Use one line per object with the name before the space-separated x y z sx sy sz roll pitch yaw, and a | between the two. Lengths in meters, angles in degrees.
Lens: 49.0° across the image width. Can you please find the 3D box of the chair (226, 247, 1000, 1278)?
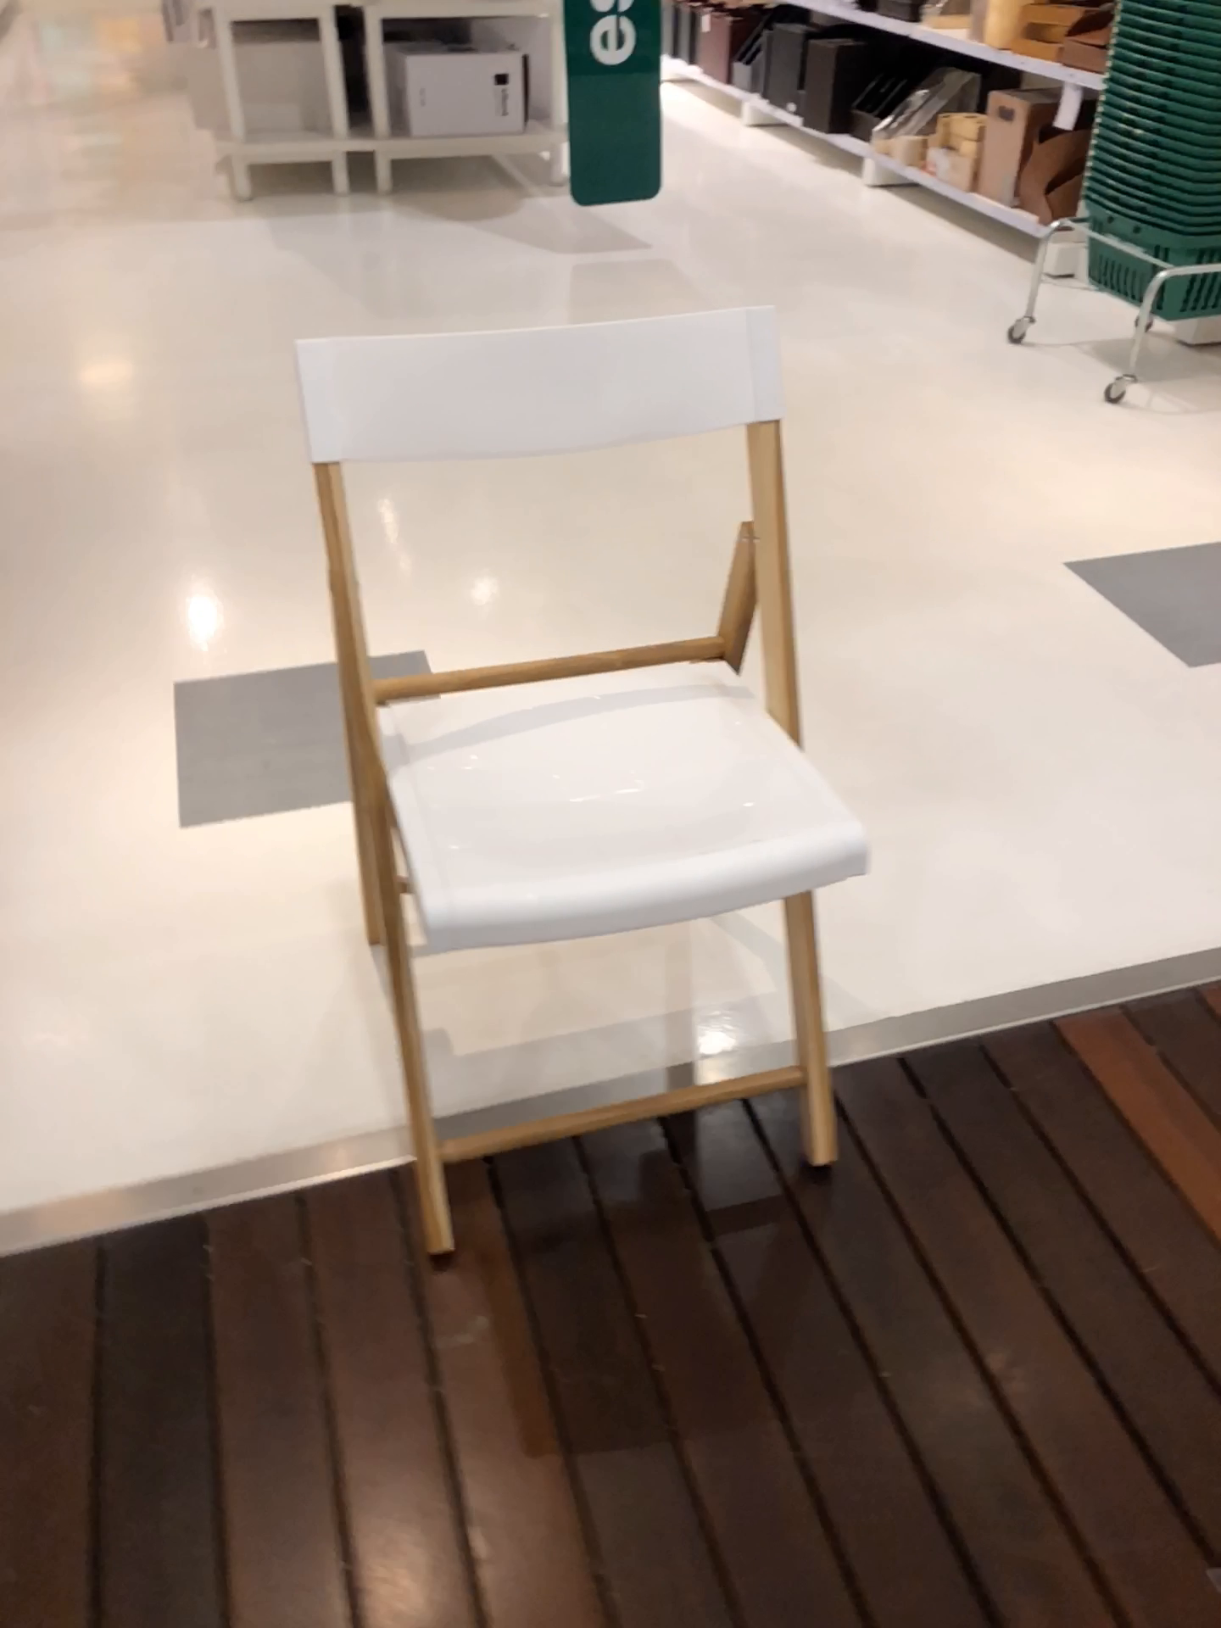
chair | -0.045 -0.053 1.243 0.470 0.734 0.514 -9 40 -12
